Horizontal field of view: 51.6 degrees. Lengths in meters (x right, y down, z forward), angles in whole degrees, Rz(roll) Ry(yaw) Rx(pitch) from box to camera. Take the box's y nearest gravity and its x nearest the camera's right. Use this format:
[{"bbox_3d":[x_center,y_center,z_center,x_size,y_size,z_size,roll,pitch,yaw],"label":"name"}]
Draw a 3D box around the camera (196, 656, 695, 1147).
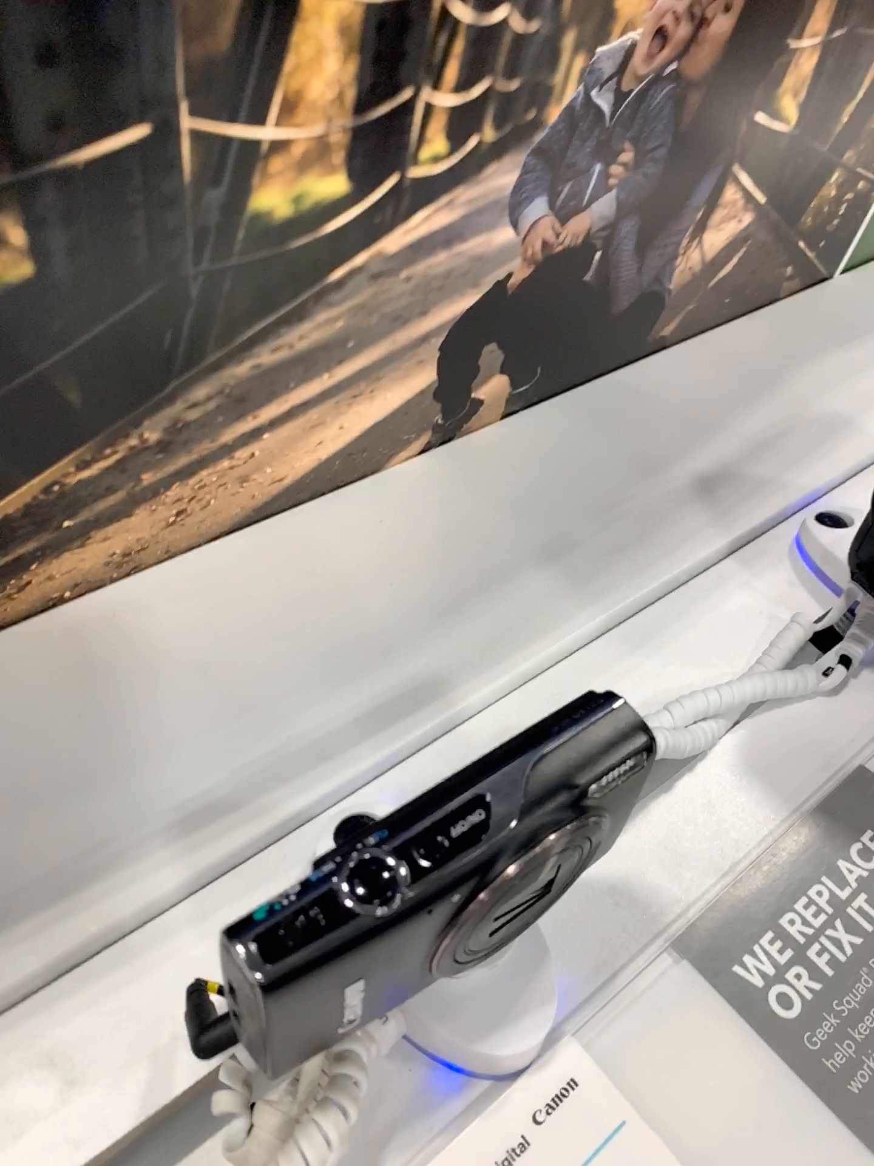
[{"bbox_3d":[0.005,0.065,0.197,0.106,0.055,0.027,-27,54,-30],"label":"camera"}]
